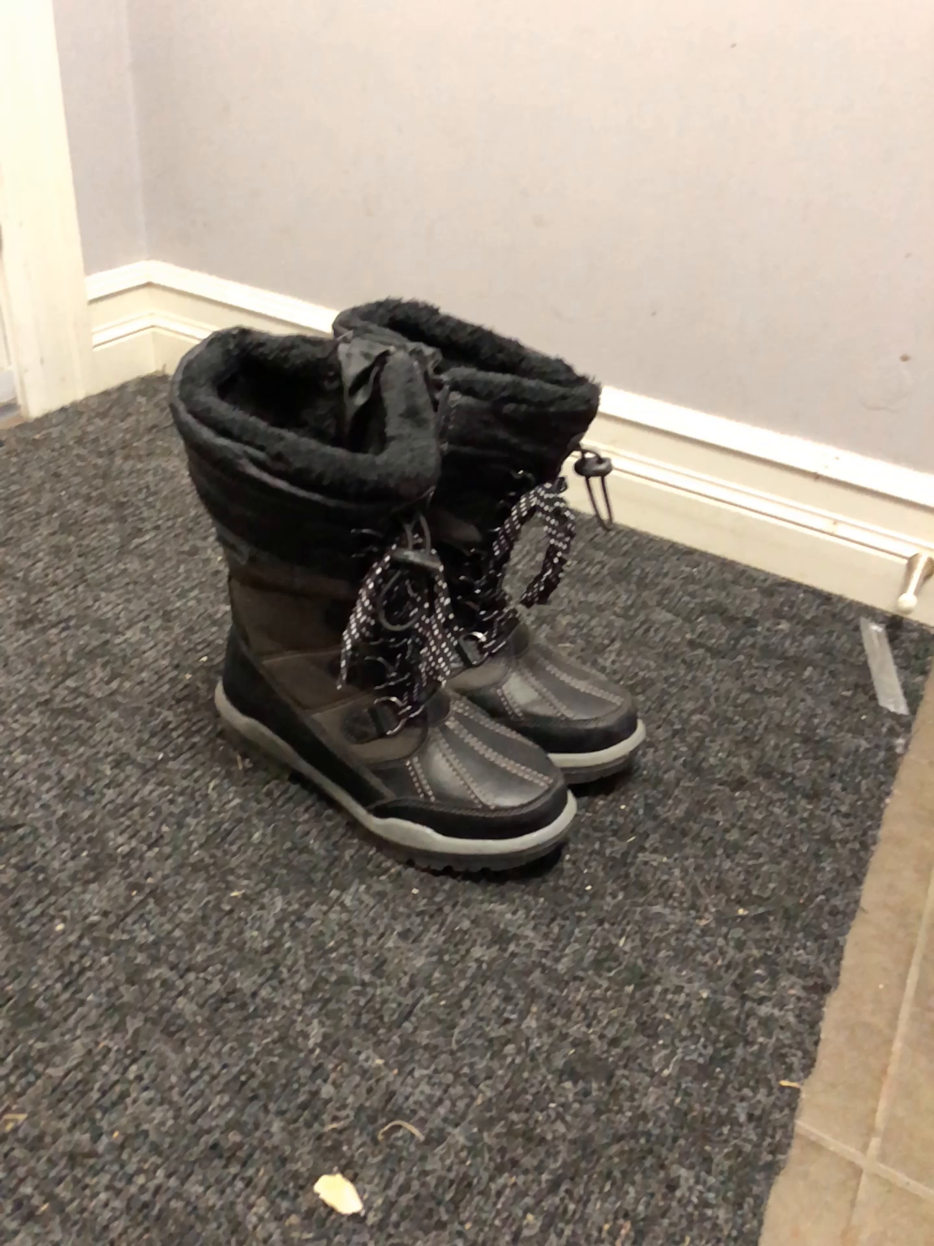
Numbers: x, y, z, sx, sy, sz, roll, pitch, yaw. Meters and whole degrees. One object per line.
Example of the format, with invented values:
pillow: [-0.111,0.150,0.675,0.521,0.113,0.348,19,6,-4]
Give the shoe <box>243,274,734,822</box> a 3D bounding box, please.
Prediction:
shoe: [0.001,-0.050,0.656,0.260,0.269,0.100,19,36,19]

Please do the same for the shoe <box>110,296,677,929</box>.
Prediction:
shoe: [-0.048,-0.010,0.582,0.260,0.269,0.110,20,37,21]
